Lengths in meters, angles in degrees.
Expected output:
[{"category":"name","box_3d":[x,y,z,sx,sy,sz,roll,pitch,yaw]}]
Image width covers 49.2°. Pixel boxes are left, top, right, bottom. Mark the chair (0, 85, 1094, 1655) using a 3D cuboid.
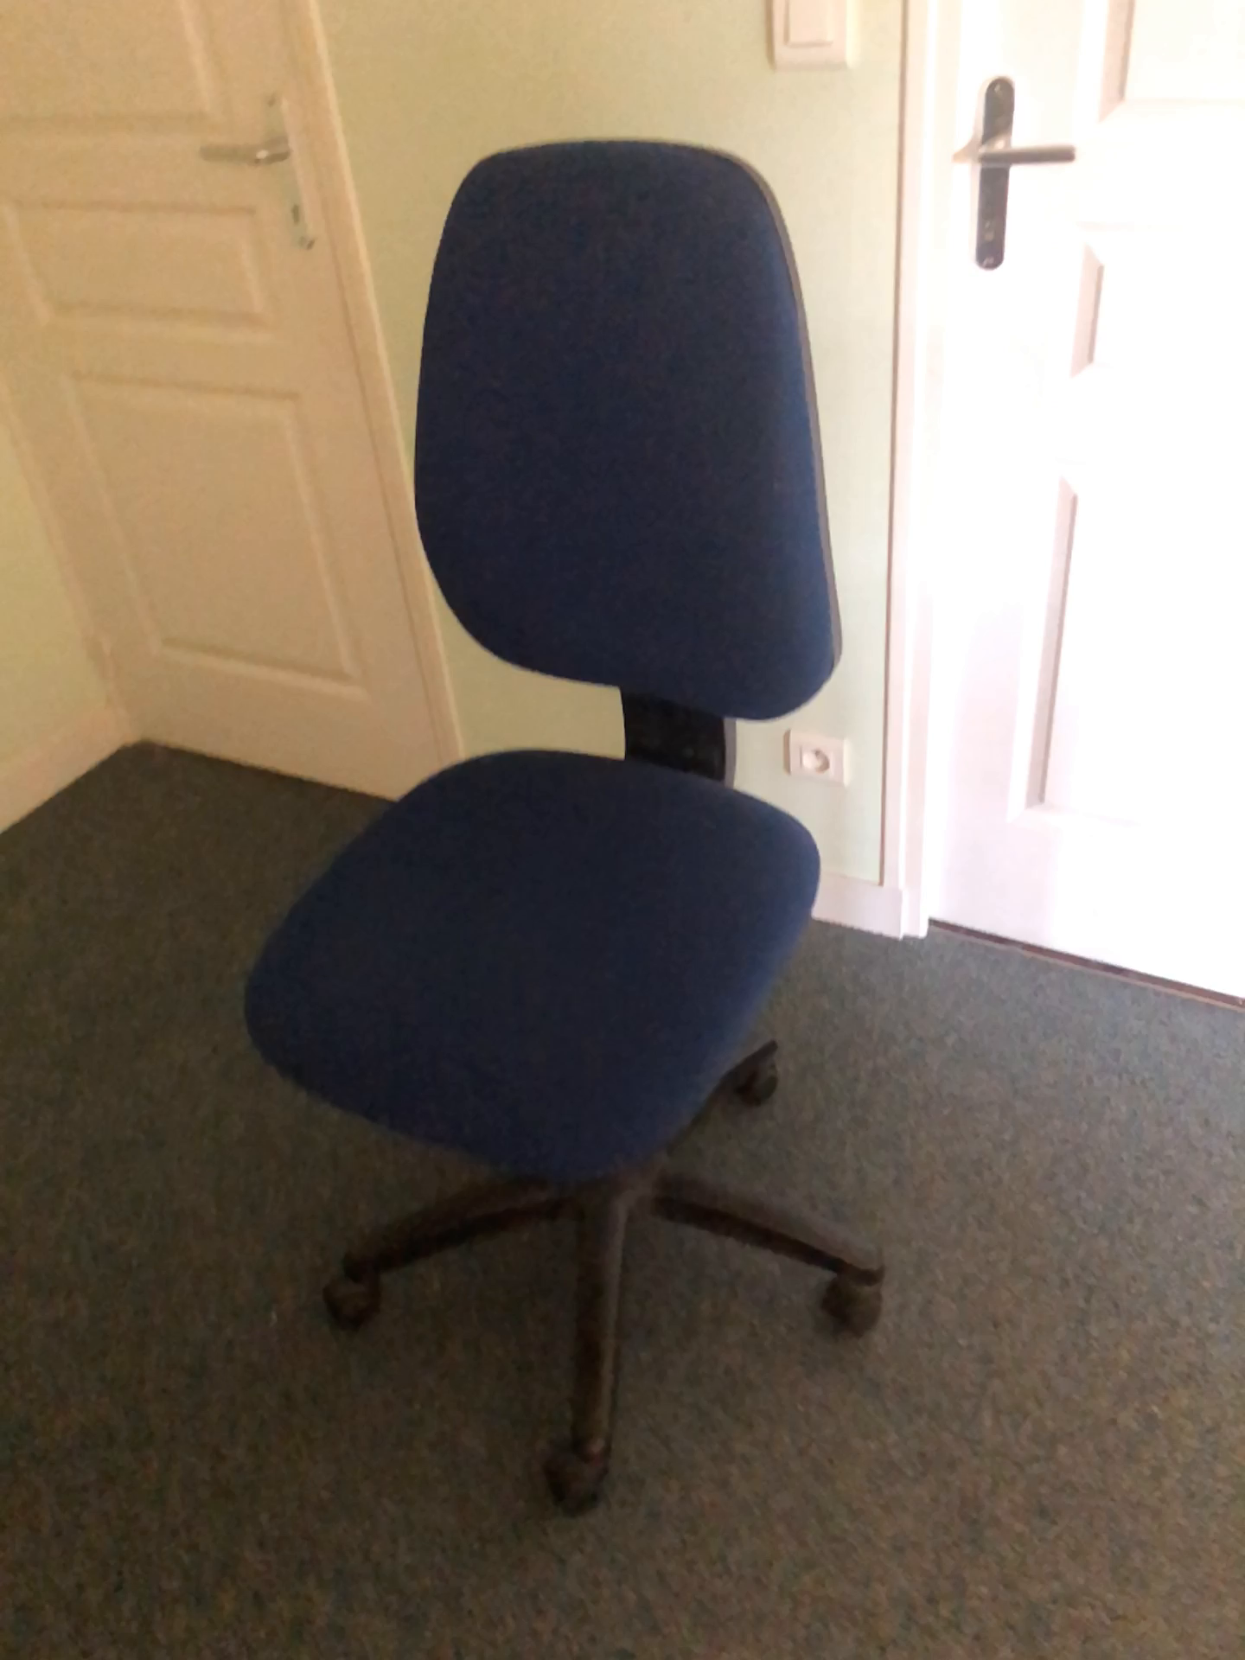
[{"category":"chair","box_3d":[-0.061,0.008,1.244,0.700,1.113,0.674,13,39,24]}]
